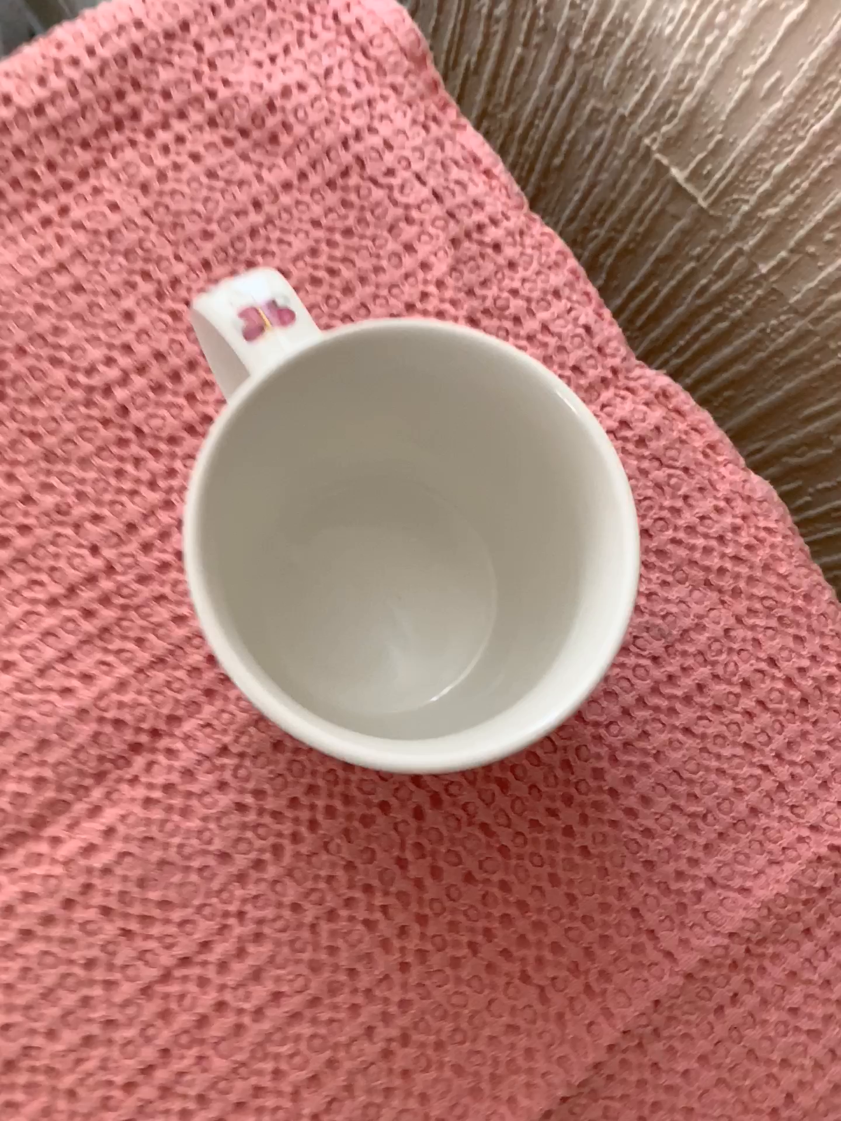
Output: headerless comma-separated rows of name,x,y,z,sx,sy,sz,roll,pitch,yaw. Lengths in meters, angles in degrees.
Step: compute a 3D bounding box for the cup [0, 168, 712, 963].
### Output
cup,-0.019,0.002,0.205,0.090,0.090,0.120,-29,86,-11
